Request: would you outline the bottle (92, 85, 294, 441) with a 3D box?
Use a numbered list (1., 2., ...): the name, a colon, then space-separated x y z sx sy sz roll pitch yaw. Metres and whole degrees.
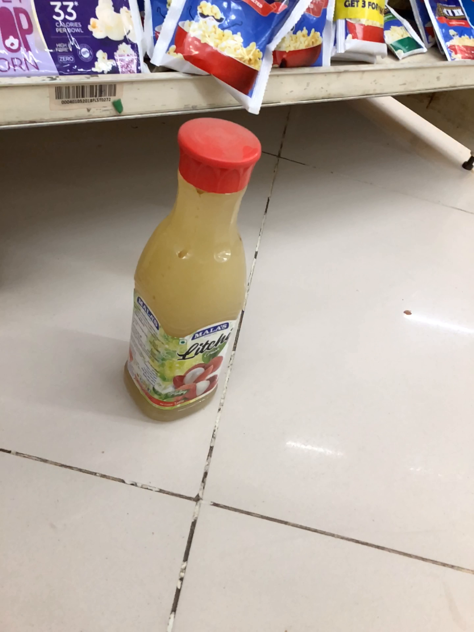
1. bottle: -0.056 -0.024 0.429 0.090 0.288 0.090 8 46 -9
